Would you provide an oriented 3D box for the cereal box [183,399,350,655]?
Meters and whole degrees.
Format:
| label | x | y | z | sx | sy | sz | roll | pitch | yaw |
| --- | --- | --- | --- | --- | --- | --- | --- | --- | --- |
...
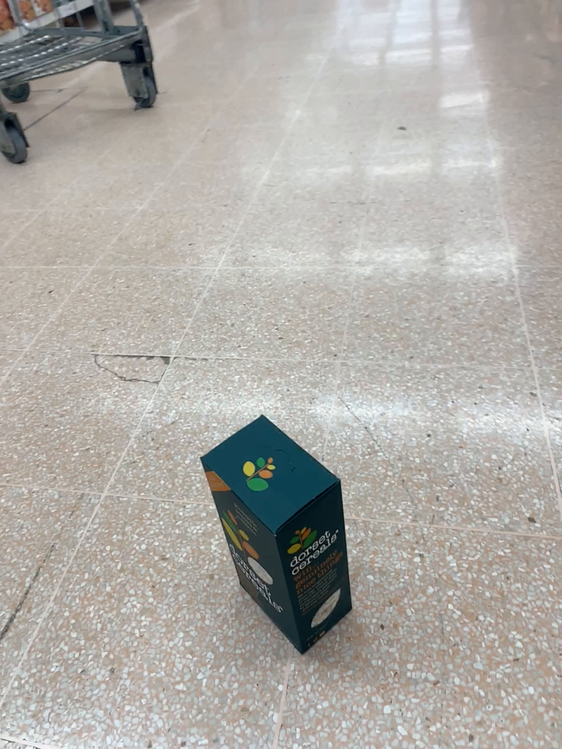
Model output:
| label | x | y | z | sx | sy | sz | roll | pitch | yaw |
| --- | --- | --- | --- | --- | --- | --- | --- | --- | --- |
| cereal box | -0.007 | 0.160 | 0.586 | 0.080 | 0.238 | 0.121 | -33 | 46 | -24 |
